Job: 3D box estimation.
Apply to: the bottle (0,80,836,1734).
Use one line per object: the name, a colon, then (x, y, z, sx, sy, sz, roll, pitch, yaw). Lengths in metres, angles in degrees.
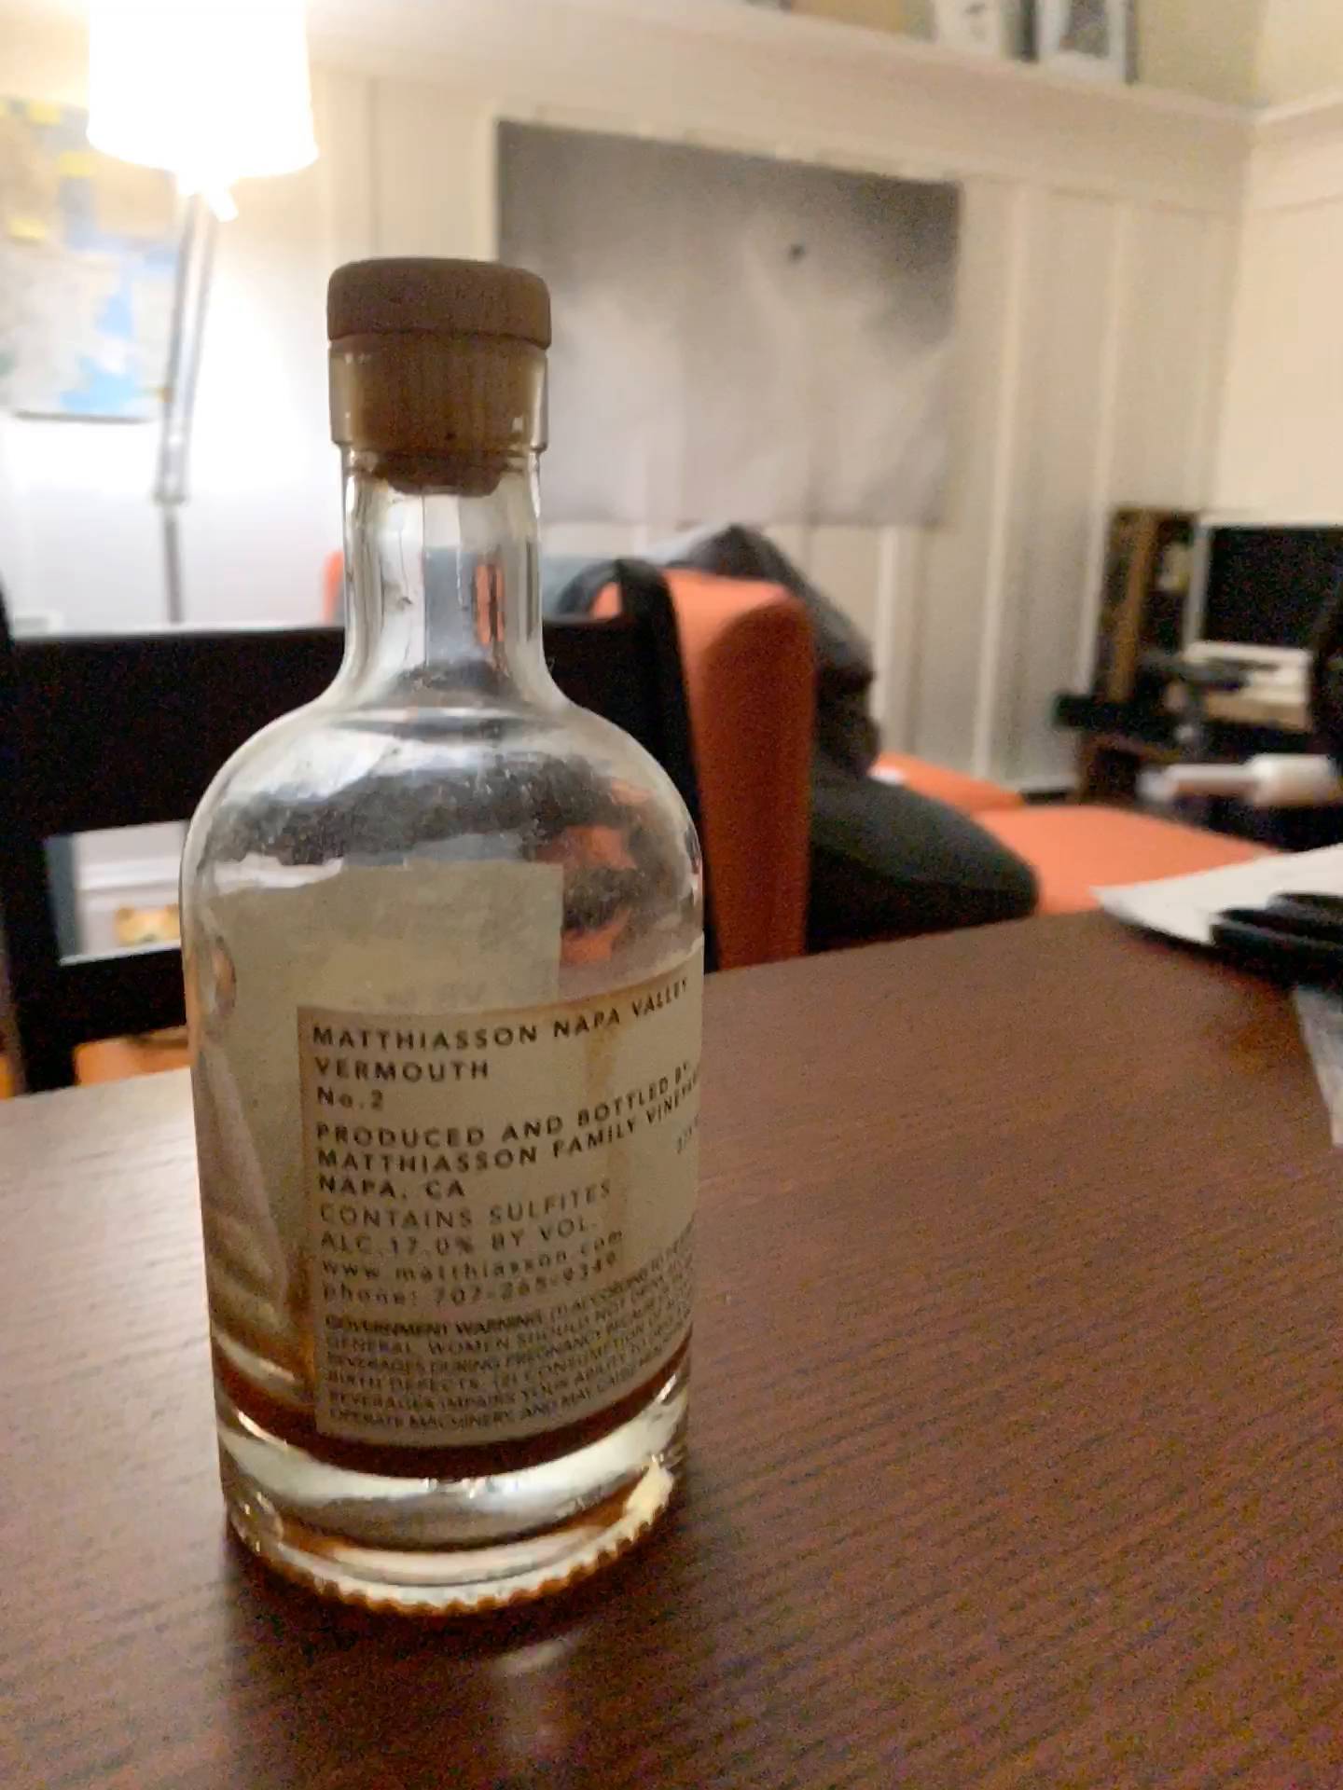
bottle: (-0.041, 0.000, 0.212, 0.090, 0.189, 0.080, -8, 17, -32)
